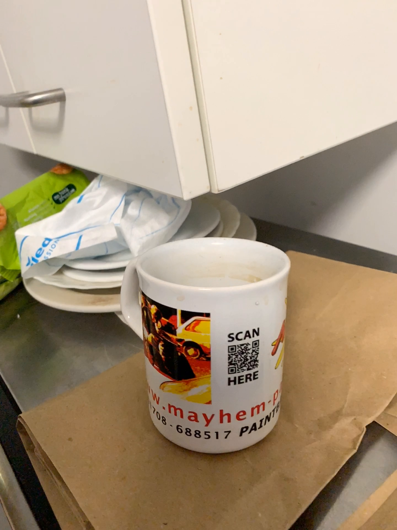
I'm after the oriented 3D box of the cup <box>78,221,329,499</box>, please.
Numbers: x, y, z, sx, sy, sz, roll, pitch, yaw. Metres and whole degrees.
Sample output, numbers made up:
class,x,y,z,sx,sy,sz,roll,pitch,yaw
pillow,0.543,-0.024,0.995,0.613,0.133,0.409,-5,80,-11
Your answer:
class,x,y,z,sx,sy,sz,roll,pitch,yaw
cup,0.000,0.036,0.221,0.078,0.088,0.101,-18,26,-38
